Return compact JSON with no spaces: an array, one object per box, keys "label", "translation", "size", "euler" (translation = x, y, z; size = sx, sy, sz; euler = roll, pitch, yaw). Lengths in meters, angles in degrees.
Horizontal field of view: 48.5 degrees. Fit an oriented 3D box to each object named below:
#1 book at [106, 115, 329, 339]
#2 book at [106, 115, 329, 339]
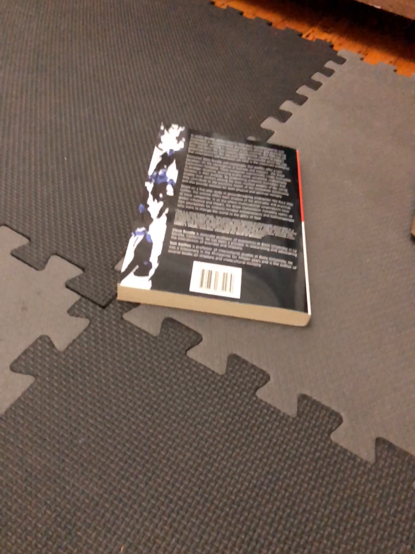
[{"label":"book","translation":[0.015,-0.059,0.392],"size":[0.150,0.020,0.231],"euler":[8,48,-2]},{"label":"book","translation":[0.015,-0.059,0.392],"size":[0.150,0.020,0.231],"euler":[8,48,-2]}]
